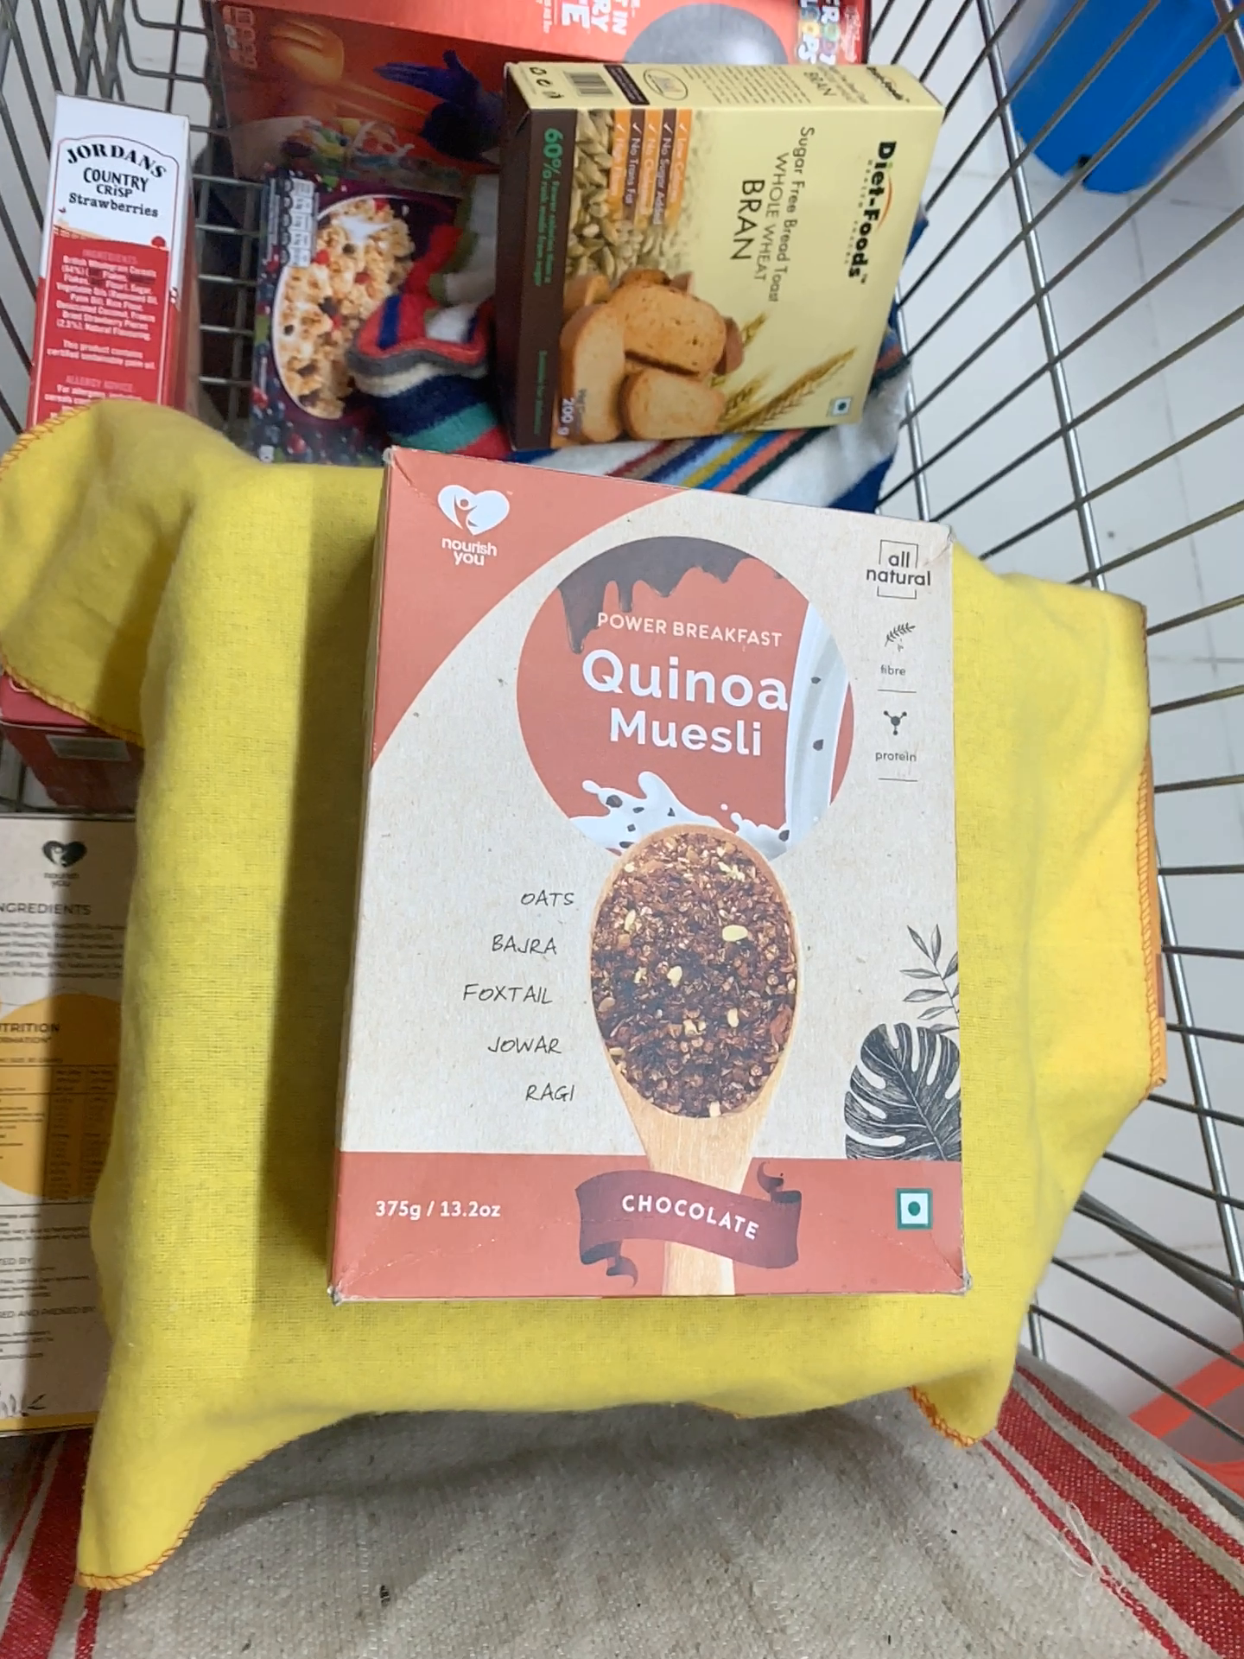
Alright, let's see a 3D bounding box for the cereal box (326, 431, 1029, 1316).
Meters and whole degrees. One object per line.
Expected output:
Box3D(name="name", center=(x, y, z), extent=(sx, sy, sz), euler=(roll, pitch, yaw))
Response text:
Box3D(name="cereal box", center=(0.014, 0.015, 0.348), extent=(0.170, 0.060, 0.210), euler=(4, 79, -13))
